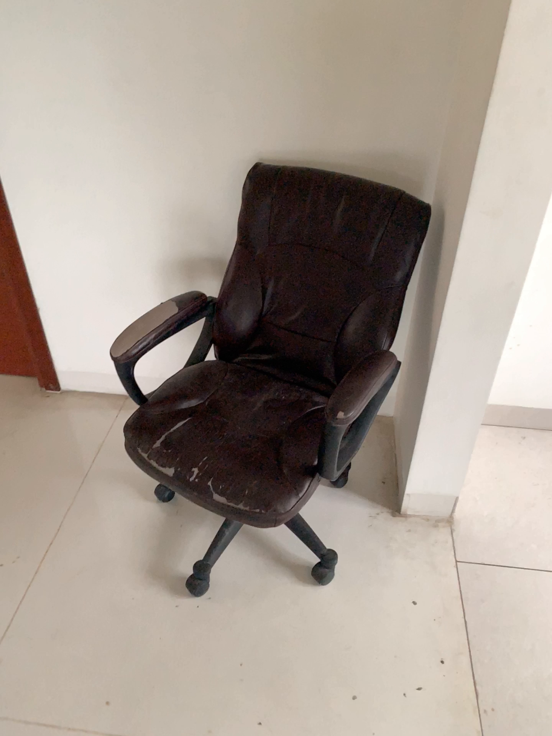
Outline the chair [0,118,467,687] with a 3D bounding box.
[{"bbox_3d":[-0.079,0.029,1.416,0.701,0.996,0.792,20,41,24],"label":"chair"}]
